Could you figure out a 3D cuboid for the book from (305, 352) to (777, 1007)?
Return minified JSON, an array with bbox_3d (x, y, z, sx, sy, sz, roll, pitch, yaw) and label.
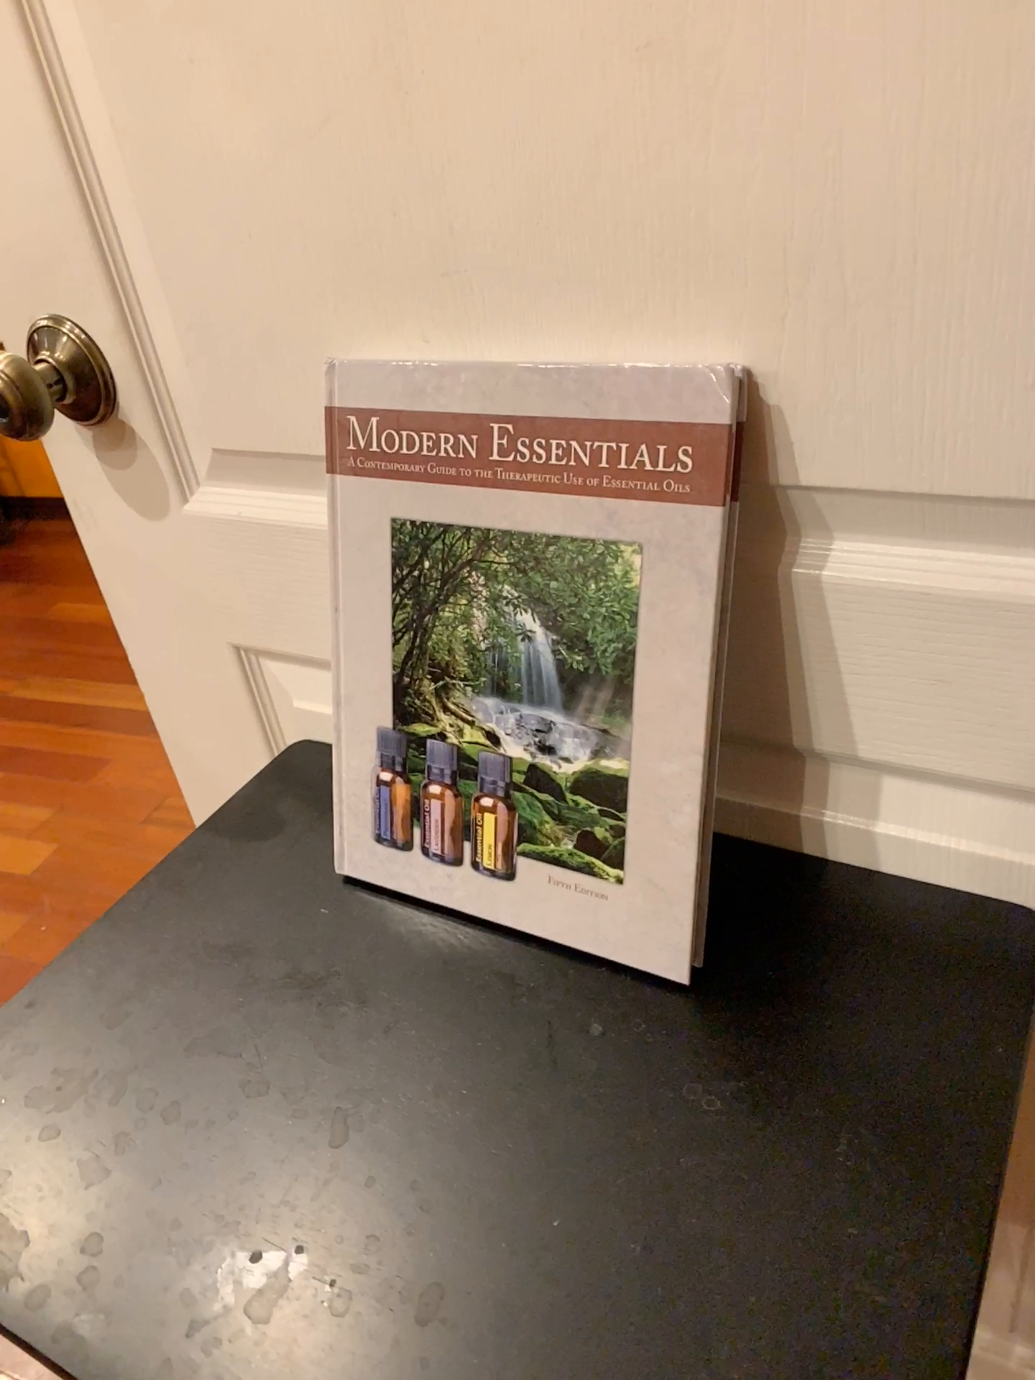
[{"bbox_3d":[-0.002,-0.014,0.523,0.231,0.289,0.030,11,19,30],"label":"book"}]
